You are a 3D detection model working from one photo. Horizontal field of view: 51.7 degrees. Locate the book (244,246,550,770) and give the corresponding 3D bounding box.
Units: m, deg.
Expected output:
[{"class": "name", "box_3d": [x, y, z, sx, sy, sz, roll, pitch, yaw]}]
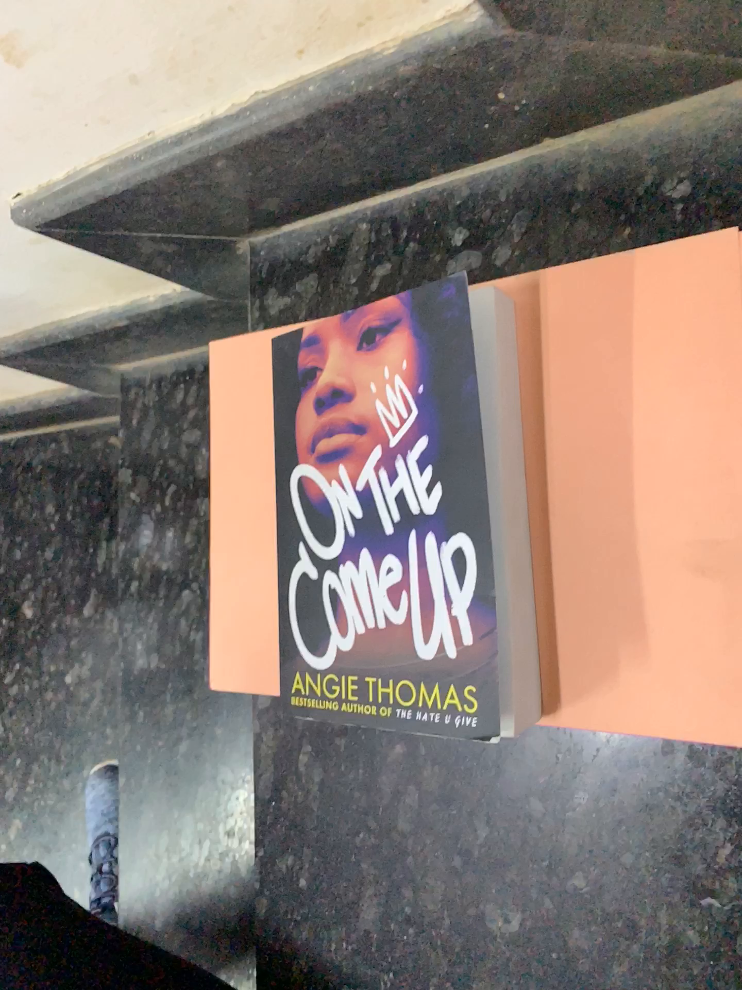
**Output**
[{"class": "book", "box_3d": [0.005, 0.008, 0.346, 0.130, 0.040, 0.200, -7, 82, 36]}]
